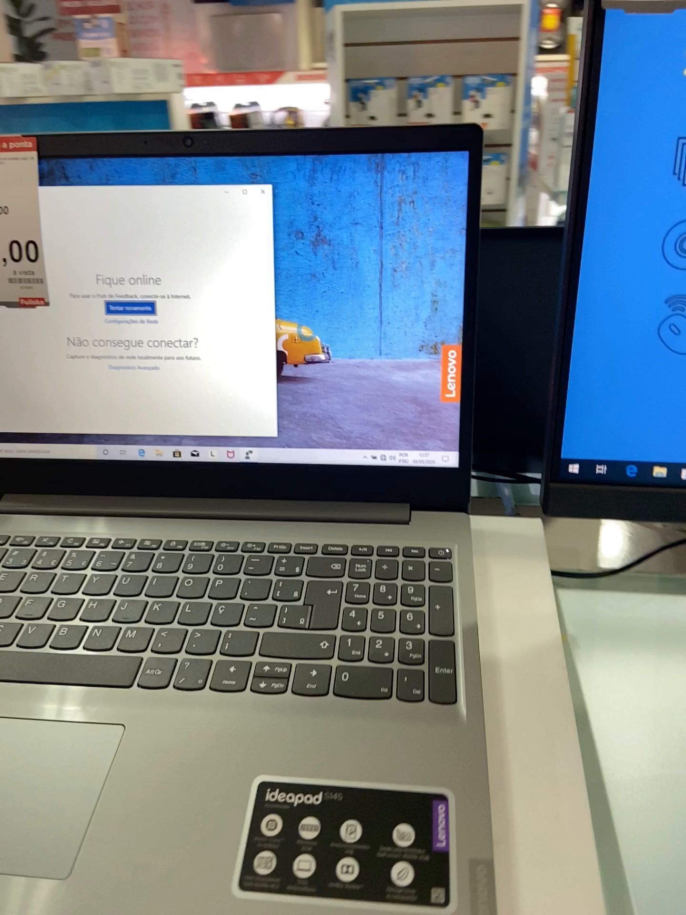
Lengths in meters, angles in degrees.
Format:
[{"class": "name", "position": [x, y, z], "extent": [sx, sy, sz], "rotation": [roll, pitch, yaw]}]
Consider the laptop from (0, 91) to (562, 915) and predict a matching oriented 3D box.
[{"class": "laptop", "position": [-0.107, -0.026, 0.372], "extent": [0.362, 0.224, 0.361], "rotation": [1, 34, 6]}]
